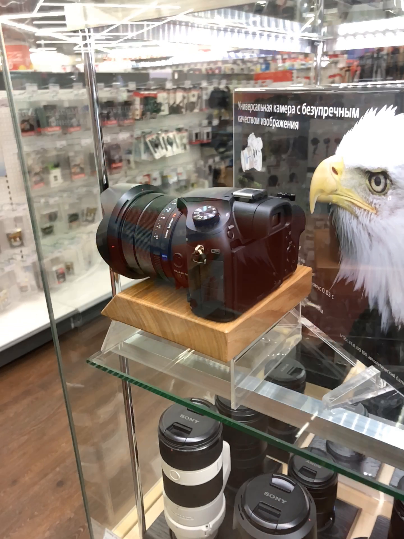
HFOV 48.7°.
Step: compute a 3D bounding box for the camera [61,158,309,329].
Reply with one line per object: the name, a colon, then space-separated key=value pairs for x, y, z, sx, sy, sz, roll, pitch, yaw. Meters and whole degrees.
camera: x=-0.014 y=-0.039 z=0.409 sx=0.178 sy=0.099 sz=0.127 roll=13 pitch=26 yaw=35
